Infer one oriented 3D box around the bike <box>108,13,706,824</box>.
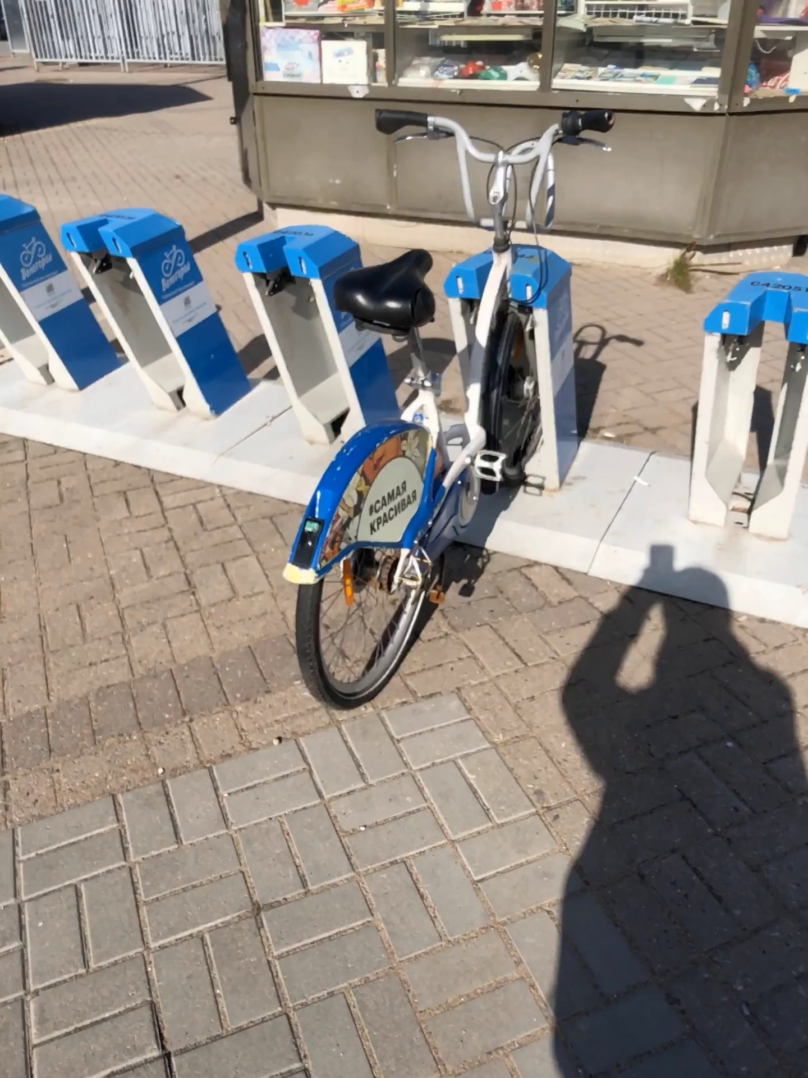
[{"bbox_3d":[0.172,-0.465,2.165,0.596,1.203,1.635,13,38,23],"label":"bike"}]
